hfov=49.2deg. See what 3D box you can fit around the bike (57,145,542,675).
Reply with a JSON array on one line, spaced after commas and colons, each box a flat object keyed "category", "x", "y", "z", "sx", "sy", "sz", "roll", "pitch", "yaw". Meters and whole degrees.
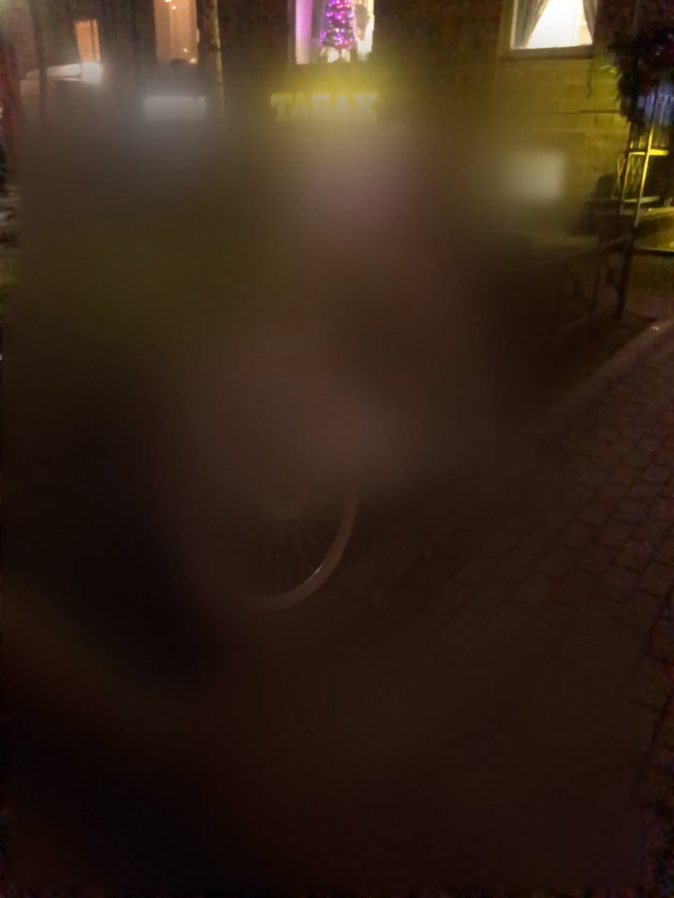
[{"category": "bike", "x": 0.048, "y": -0.367, "z": 2.527, "sx": 0.606, "sy": 1.119, "sz": 1.836, "roll": 14, "pitch": 29, "yaw": 29}]
